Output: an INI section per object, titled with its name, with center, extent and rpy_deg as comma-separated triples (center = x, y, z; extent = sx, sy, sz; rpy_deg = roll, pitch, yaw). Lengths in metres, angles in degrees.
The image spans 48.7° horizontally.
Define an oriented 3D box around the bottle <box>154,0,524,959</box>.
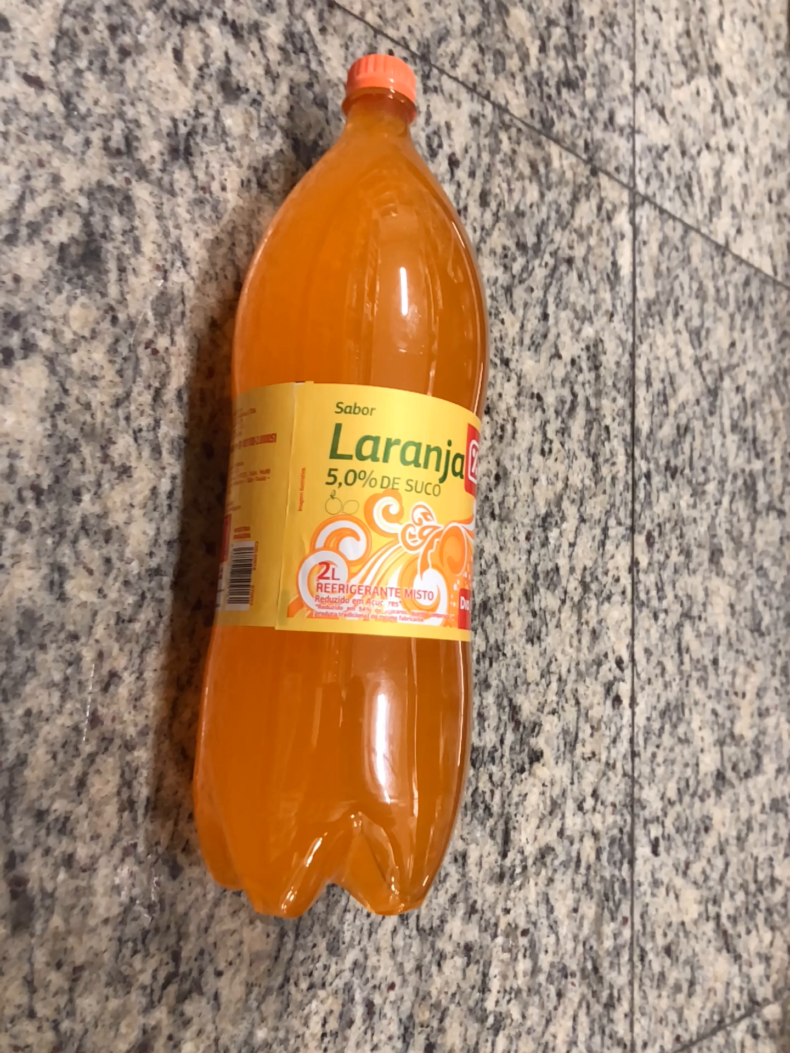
[bottle]
center = -0.014, -0.033, 0.354
extent = 0.121, 0.070, 0.350
rpy_deg = 9, 79, -41
